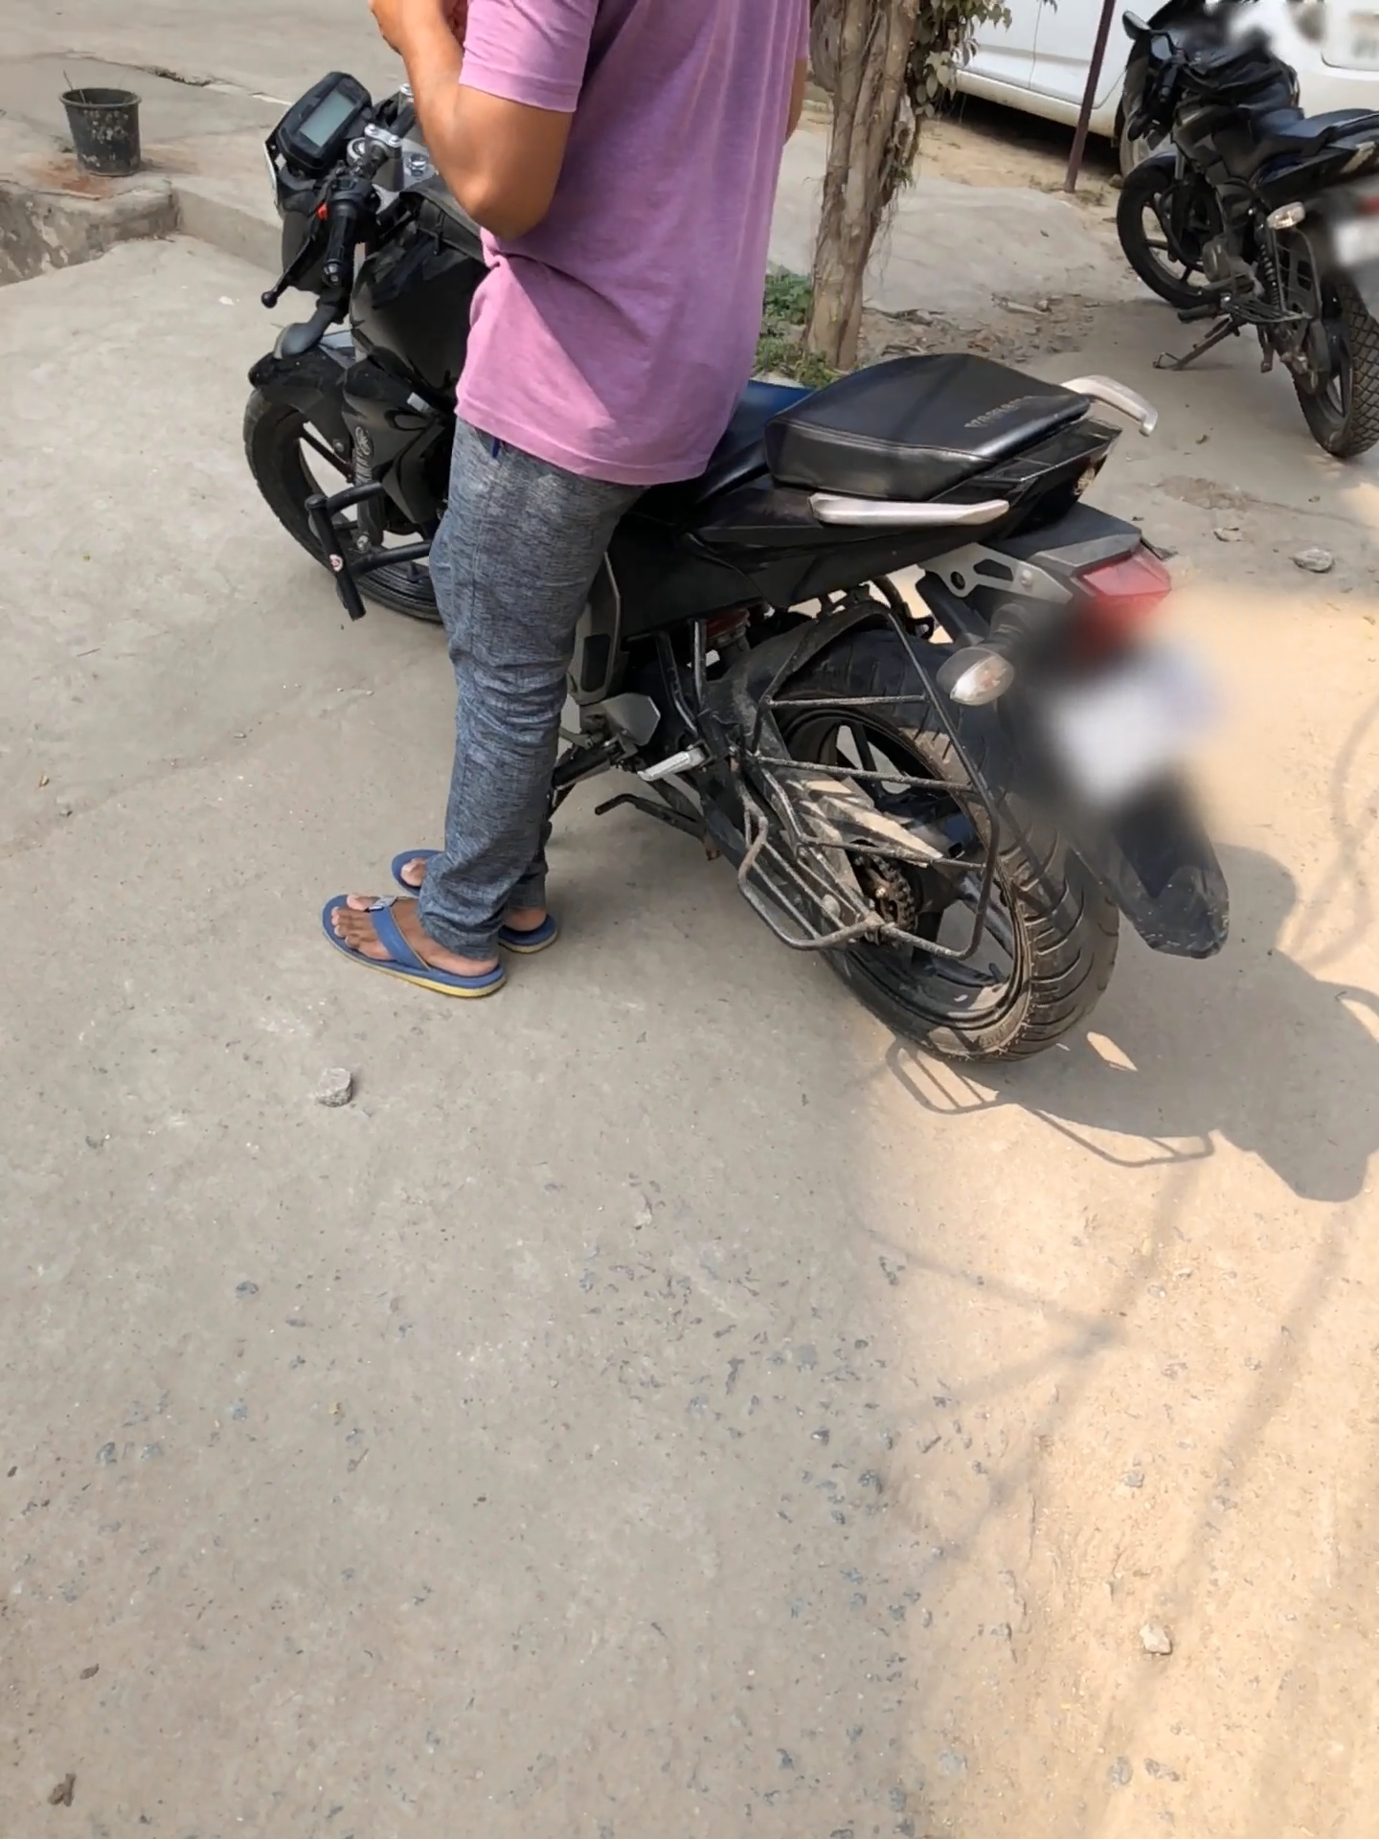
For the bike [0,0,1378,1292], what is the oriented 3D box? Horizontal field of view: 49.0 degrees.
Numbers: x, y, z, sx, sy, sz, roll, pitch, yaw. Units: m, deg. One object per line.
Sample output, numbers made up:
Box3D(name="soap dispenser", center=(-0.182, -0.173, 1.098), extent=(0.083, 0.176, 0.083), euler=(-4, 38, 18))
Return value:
Box3D(name="bike", center=(-0.256, -0.553, 1.828), extent=(0.687, 0.959, 1.687), euler=(-26, 50, -38))
